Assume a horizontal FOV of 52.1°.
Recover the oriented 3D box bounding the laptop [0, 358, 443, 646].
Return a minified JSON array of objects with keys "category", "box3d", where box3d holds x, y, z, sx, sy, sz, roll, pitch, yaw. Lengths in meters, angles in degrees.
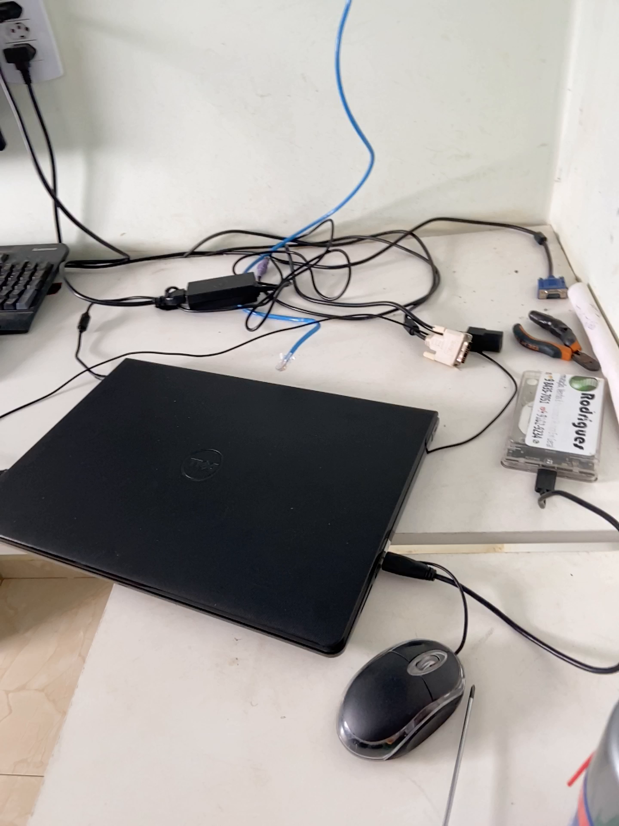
[{"category":"laptop","box3d":[-0.096,0.048,0.595,0.376,0.003,0.261,11,43,22]}]
